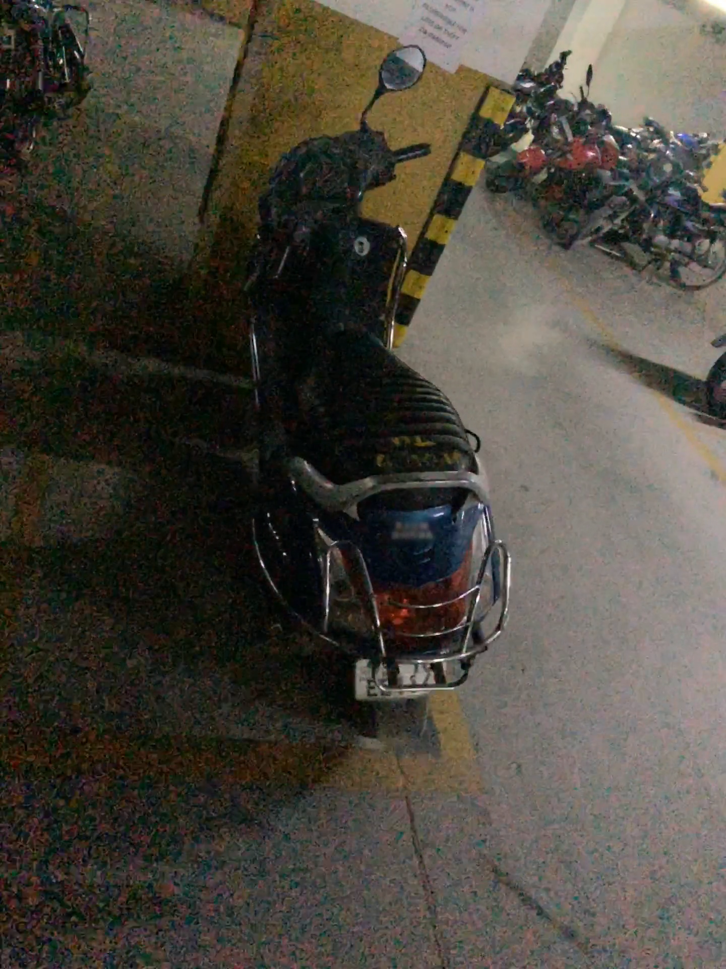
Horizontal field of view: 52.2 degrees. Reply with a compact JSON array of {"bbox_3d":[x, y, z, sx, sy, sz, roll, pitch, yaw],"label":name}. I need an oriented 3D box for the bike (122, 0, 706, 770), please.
[{"bbox_3d":[-0.077,-0.292,1.730,0.632,1.063,1.273,4,46,-30],"label":"bike"}]
